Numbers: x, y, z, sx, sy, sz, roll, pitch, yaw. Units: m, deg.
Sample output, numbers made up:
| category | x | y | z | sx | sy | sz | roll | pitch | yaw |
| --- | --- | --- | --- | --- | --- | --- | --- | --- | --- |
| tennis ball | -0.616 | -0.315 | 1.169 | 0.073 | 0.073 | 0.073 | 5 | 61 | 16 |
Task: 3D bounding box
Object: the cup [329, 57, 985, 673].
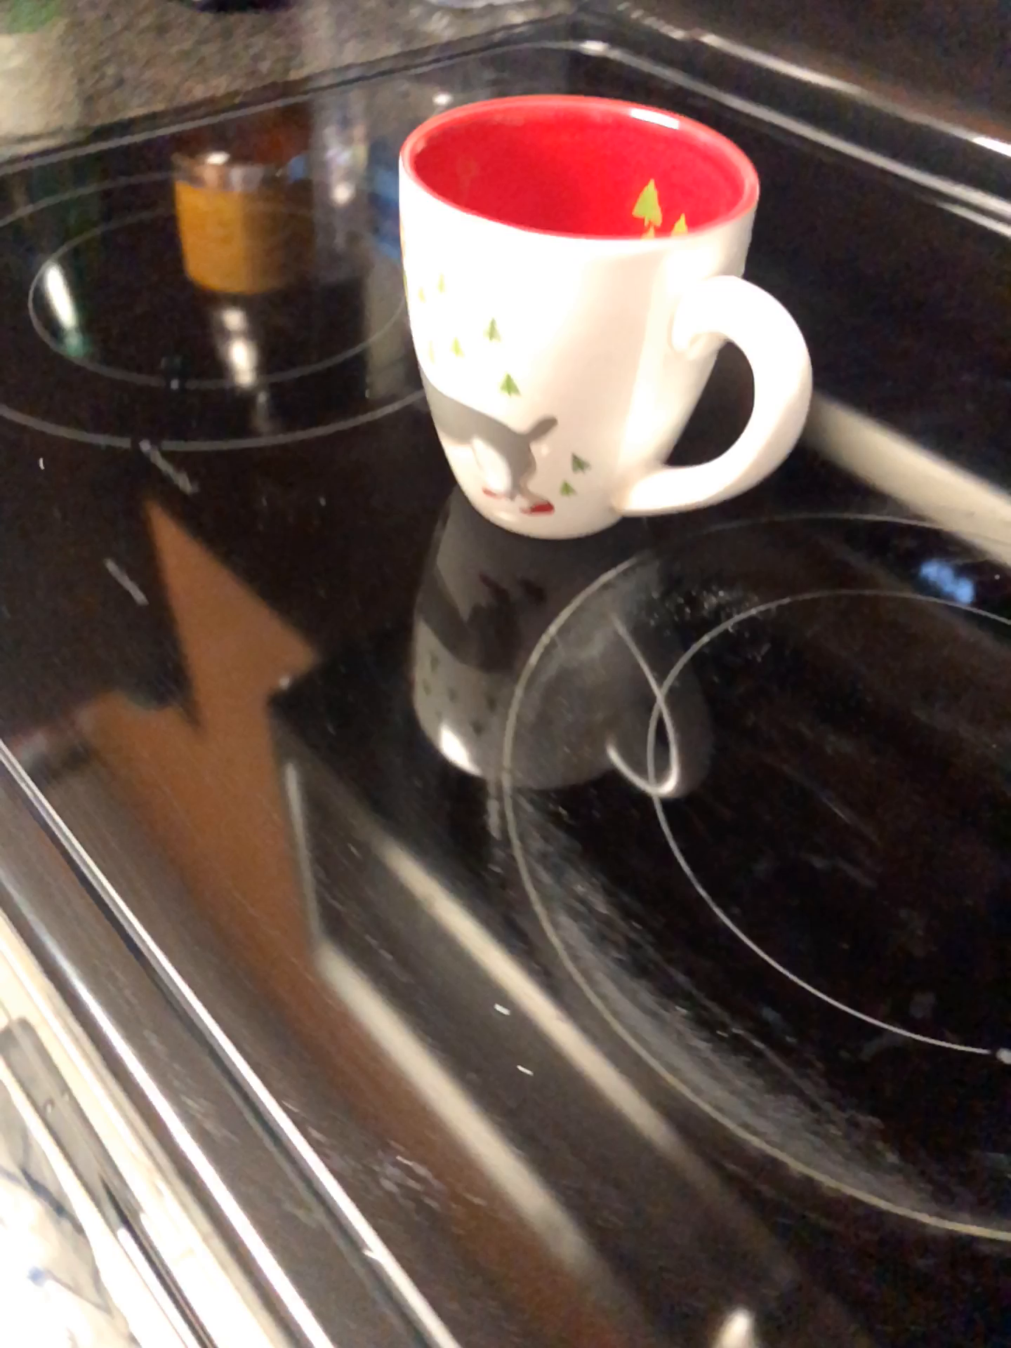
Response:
| category | x | y | z | sx | sy | sz | roll | pitch | yaw |
| --- | --- | --- | --- | --- | --- | --- | --- | --- | --- |
| cup | 0.034 | -0.097 | 0.330 | 0.100 | 0.100 | 0.140 | -32 | 56 | -30 |
